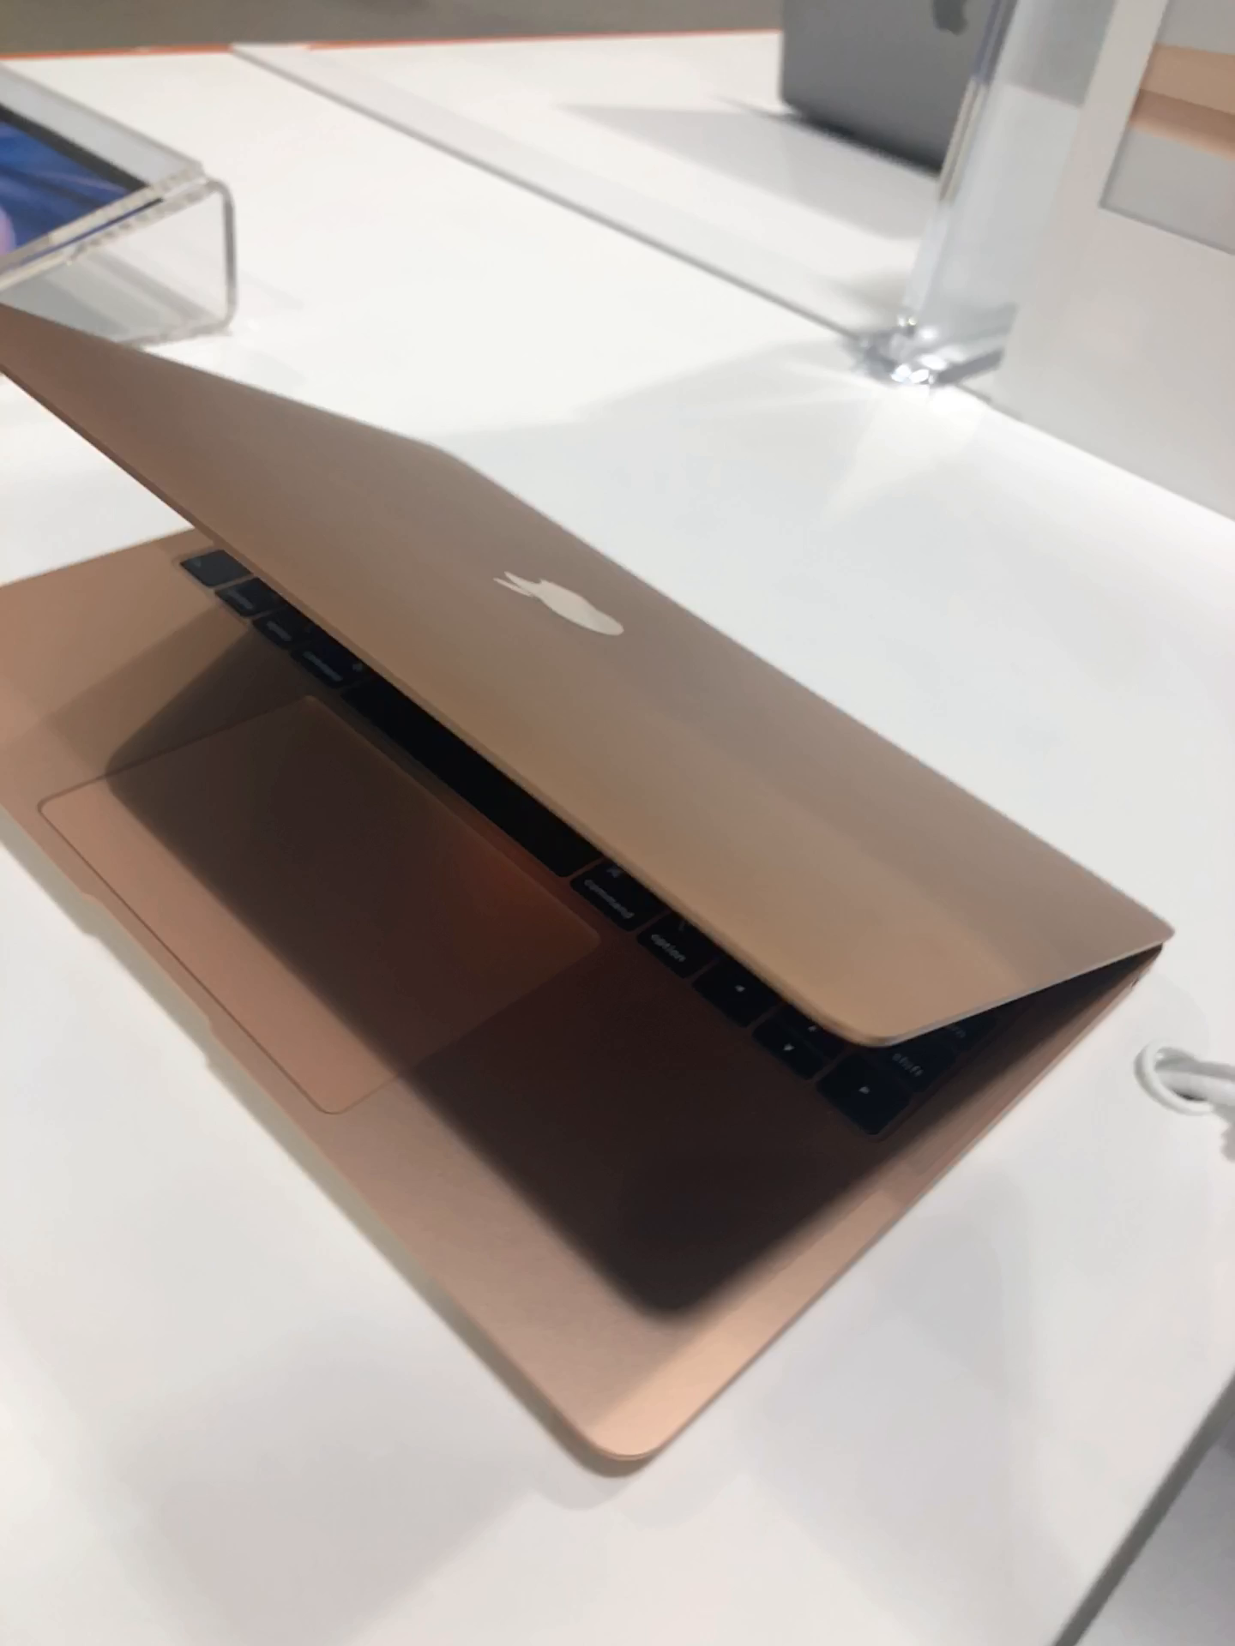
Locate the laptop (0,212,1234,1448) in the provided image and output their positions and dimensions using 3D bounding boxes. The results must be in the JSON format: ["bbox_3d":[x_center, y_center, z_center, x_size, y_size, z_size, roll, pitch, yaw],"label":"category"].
[{"bbox_3d":[-0.022,-0.044,0.342,0.286,0.091,0.209,38,46,28],"label":"laptop"}]
